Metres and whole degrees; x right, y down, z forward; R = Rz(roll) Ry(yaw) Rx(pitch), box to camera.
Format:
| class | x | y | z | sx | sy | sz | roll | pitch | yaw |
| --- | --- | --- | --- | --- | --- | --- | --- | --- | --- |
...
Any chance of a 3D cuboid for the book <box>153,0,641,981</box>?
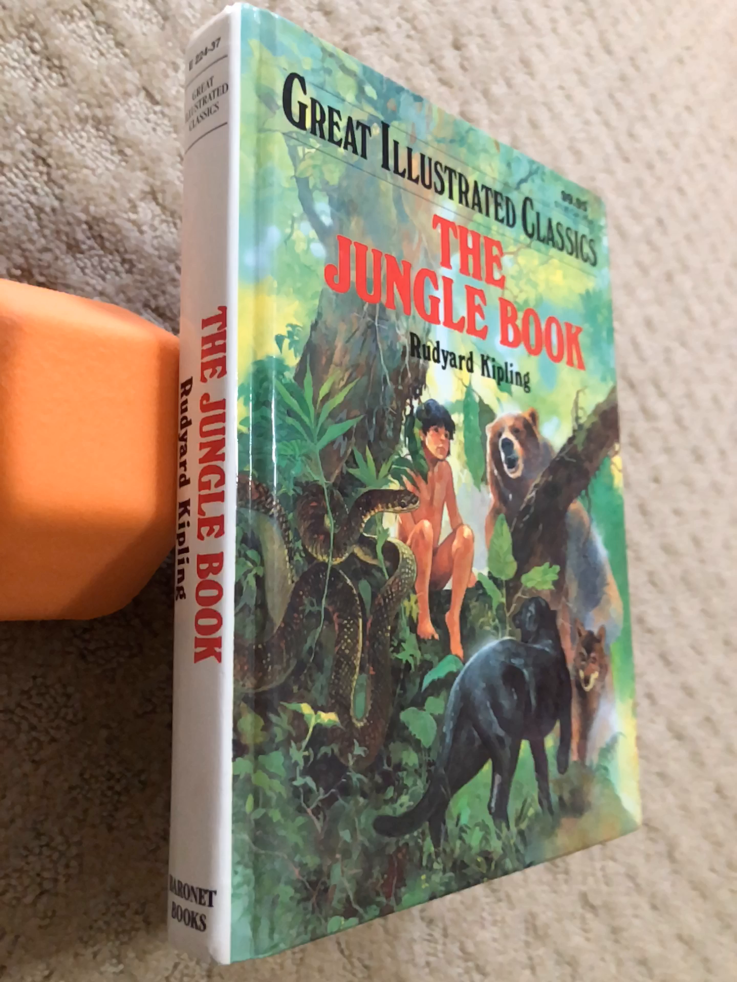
| class | x | y | z | sx | sy | sz | roll | pitch | yaw |
| --- | --- | --- | --- | --- | --- | --- | --- | --- | --- |
| book | 0.017 | -0.005 | 0.222 | 0.141 | 0.029 | 0.207 | 7 | 78 | -42 |
